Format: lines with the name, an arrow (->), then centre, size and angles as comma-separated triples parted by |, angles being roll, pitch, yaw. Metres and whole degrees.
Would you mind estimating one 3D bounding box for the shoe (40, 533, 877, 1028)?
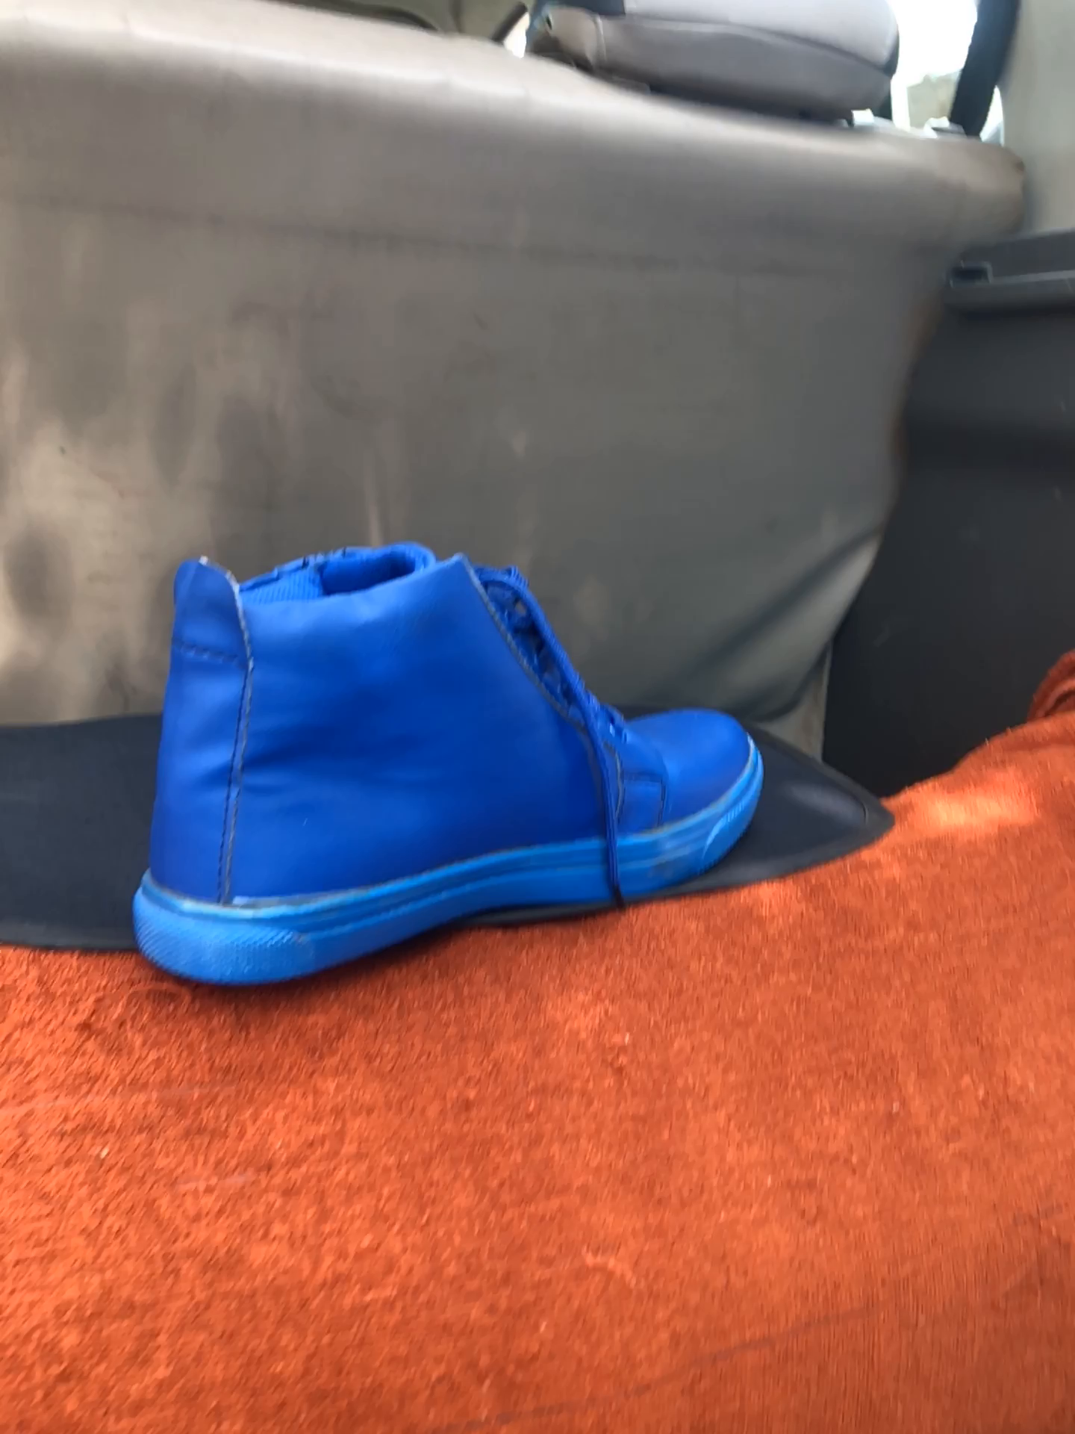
shoe -> -0.019, -0.001, 0.472 | 0.301, 0.120, 0.130 | -8, 20, -37
